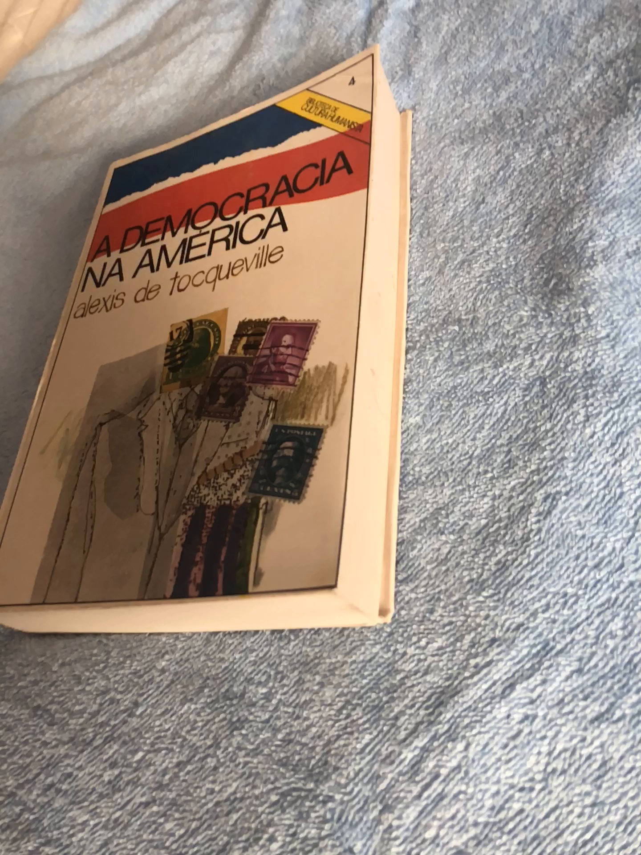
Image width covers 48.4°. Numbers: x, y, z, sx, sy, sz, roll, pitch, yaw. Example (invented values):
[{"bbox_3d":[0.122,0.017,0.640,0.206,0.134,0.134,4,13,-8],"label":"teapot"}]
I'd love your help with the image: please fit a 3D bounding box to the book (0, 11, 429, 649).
[{"bbox_3d":[-0.037,-0.030,0.251,0.140,0.050,0.200,-8,63,26],"label":"book"}]
